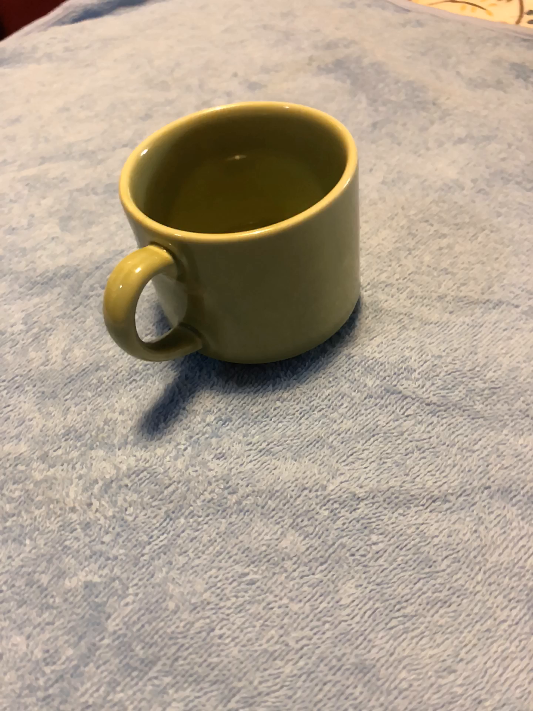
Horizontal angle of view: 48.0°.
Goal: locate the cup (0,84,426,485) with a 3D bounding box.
[{"bbox_3d":[-0.012,-0.033,0.210,0.090,0.060,0.110,23,59,27],"label":"cup"}]
